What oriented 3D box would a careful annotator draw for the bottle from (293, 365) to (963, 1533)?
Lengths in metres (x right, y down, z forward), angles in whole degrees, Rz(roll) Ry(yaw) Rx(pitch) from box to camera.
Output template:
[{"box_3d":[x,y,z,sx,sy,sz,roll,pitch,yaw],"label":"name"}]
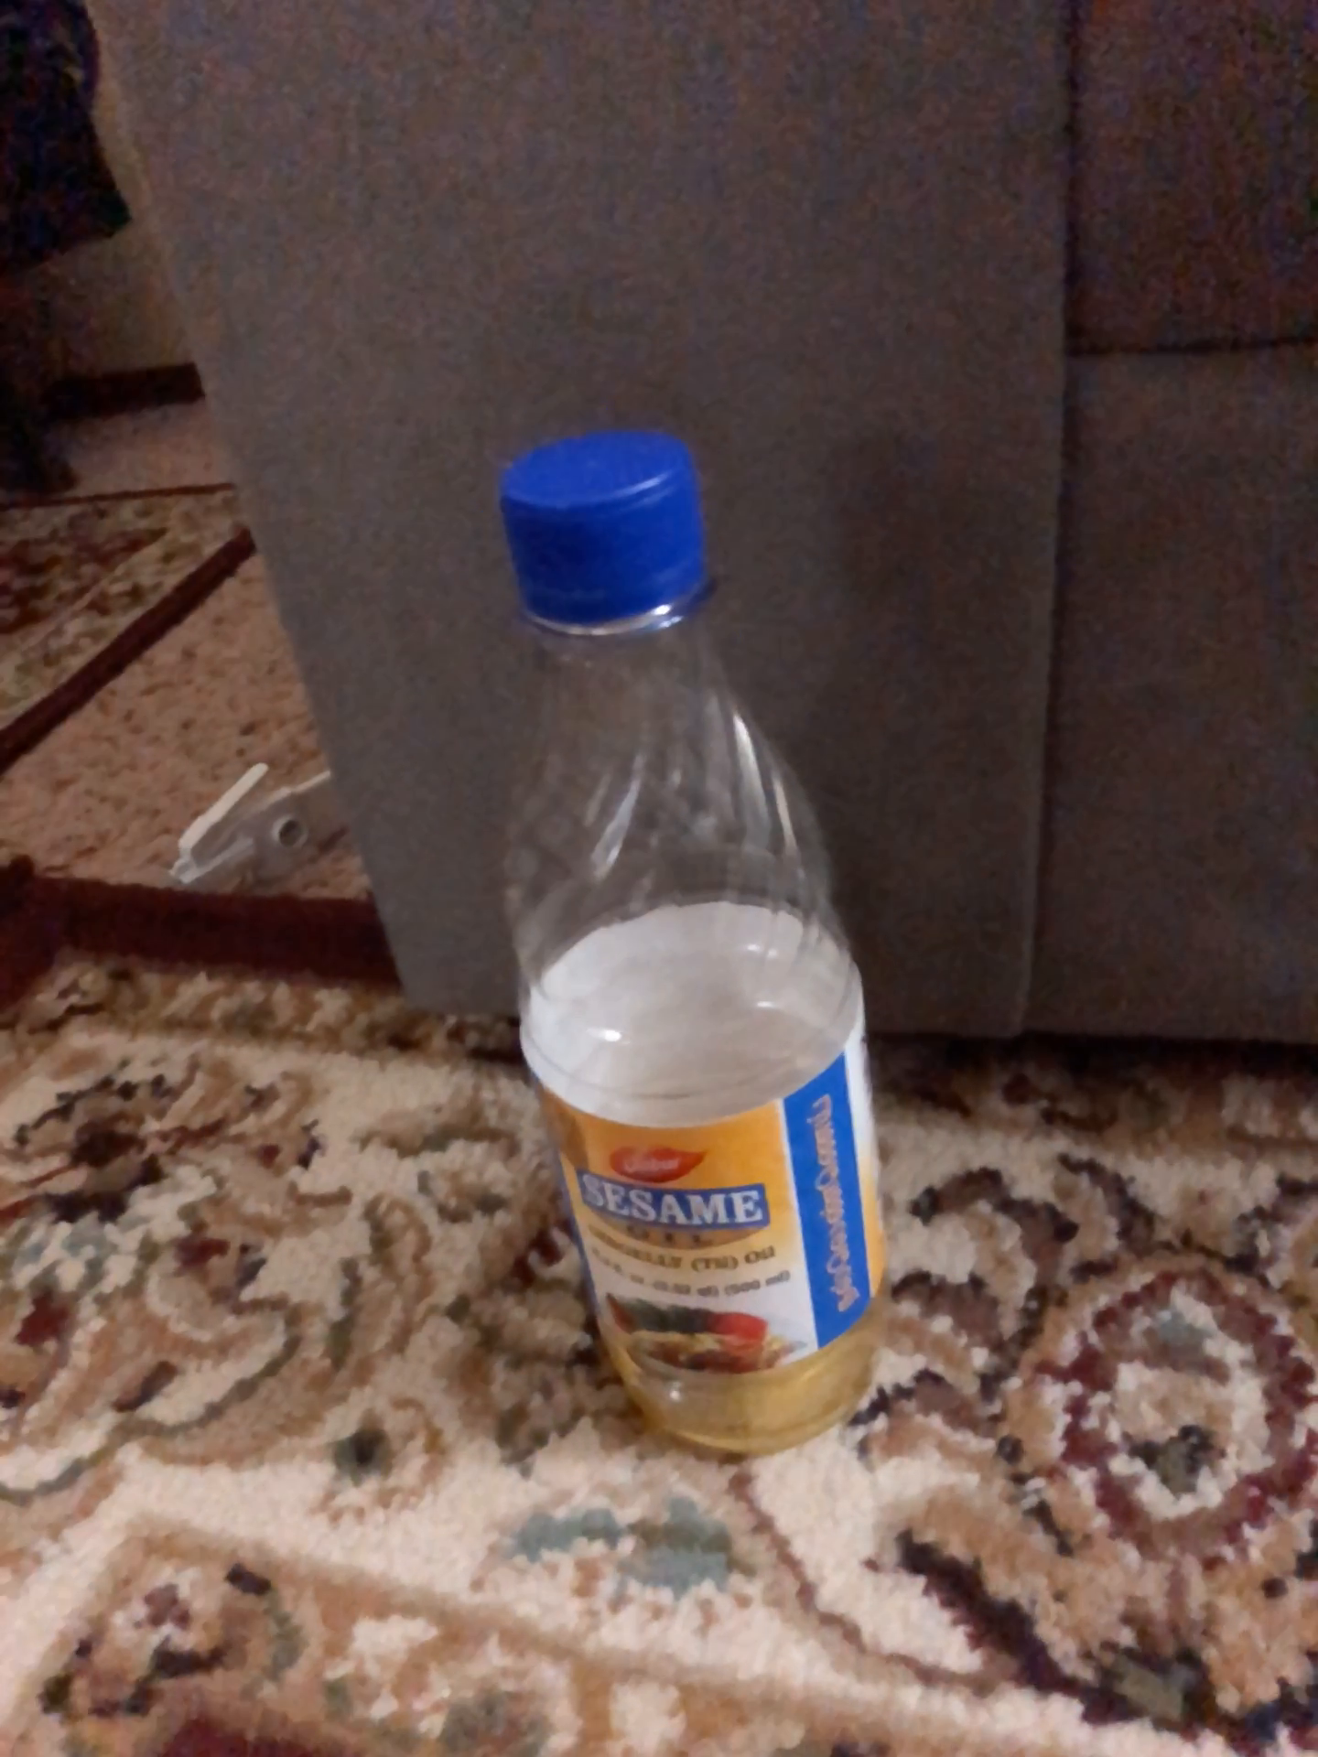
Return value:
[{"box_3d":[0.010,0.021,0.266,0.070,0.199,0.070,-8,31,5],"label":"bottle"}]
